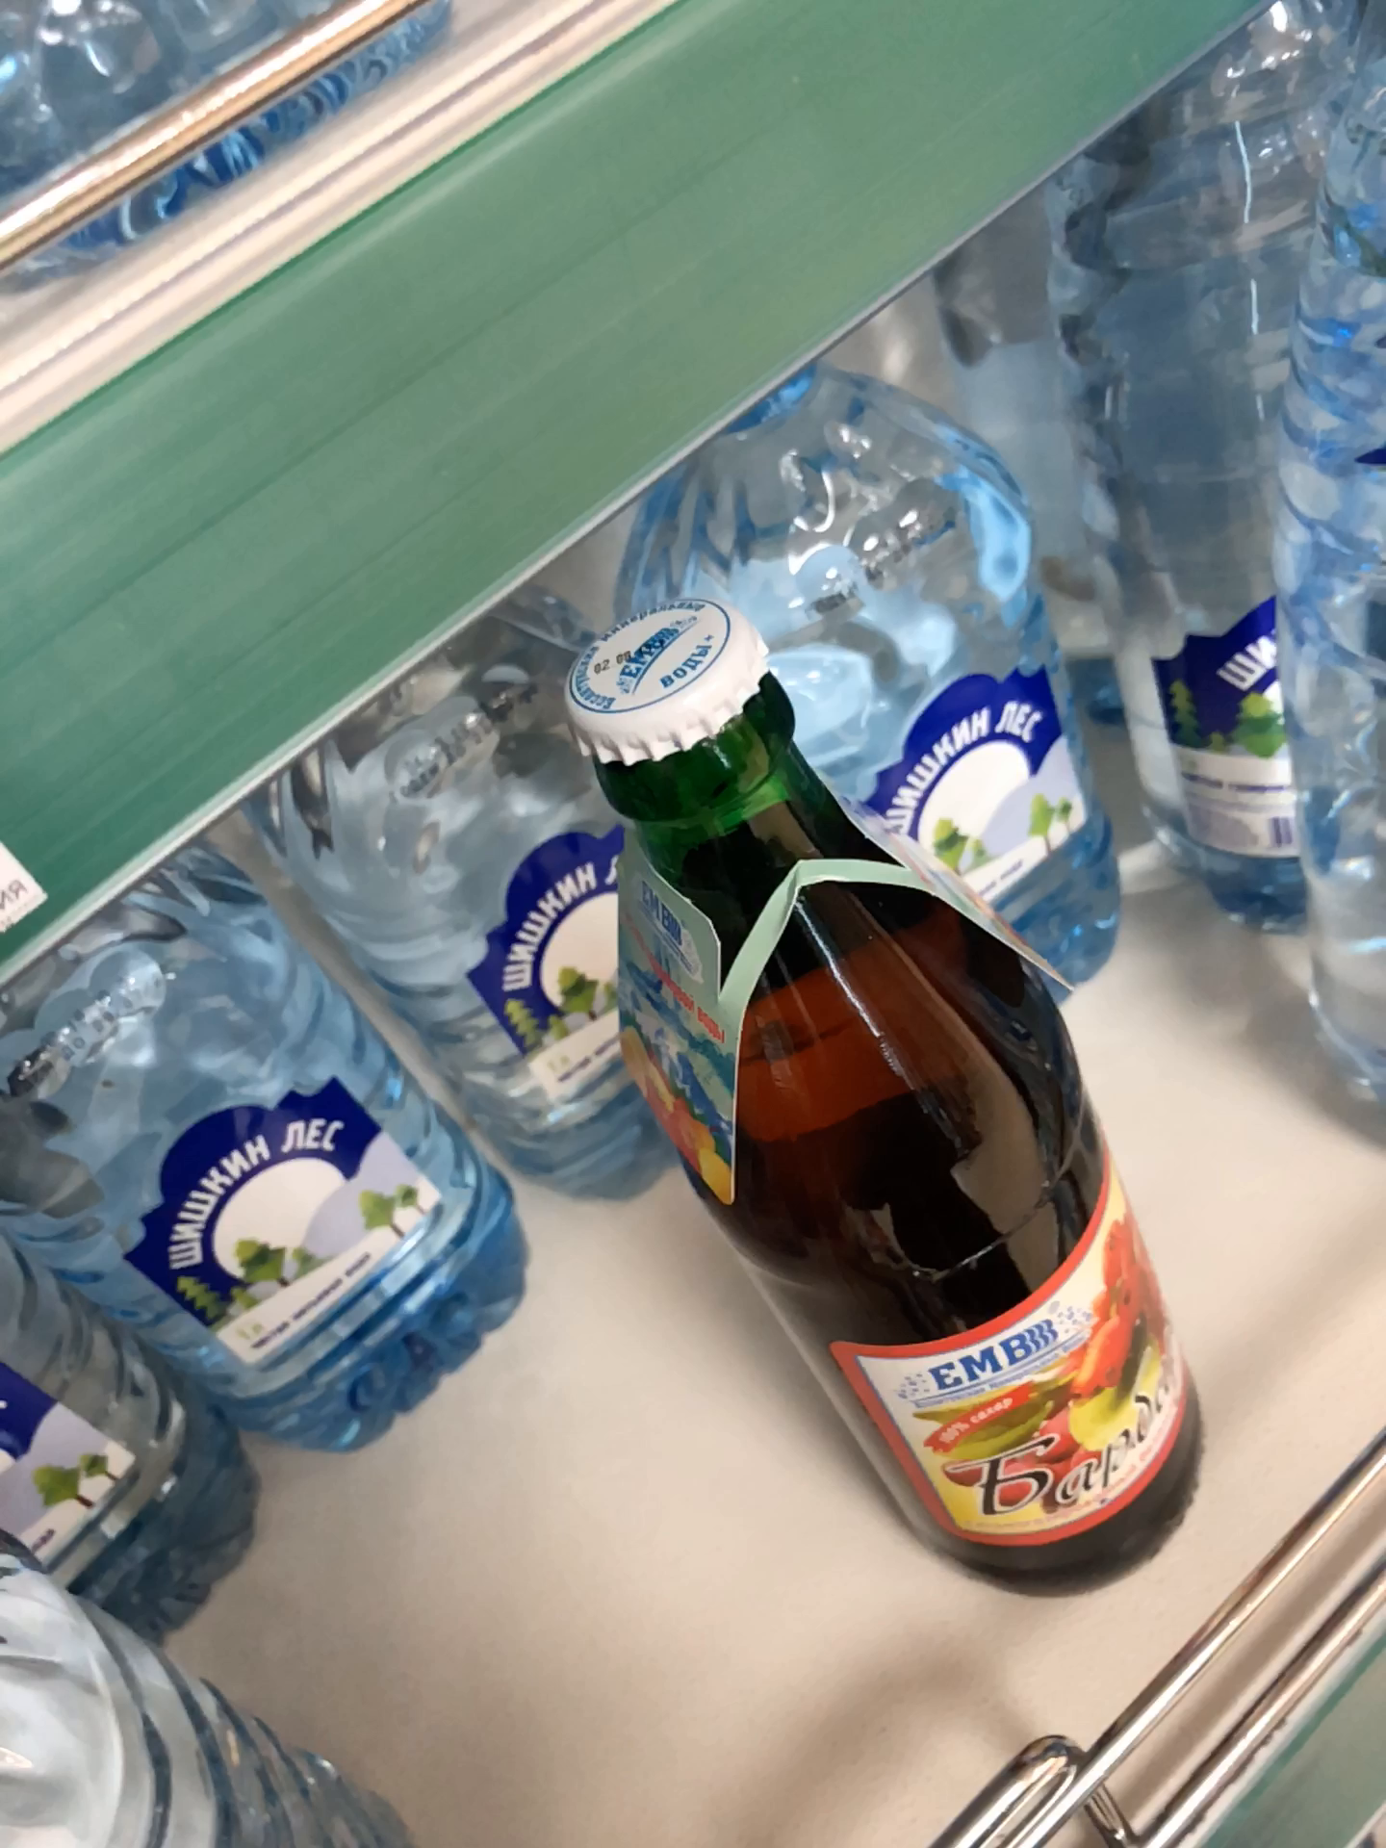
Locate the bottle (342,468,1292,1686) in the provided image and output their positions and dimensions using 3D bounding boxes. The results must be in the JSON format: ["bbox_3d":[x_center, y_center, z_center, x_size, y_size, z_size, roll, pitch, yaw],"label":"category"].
[{"bbox_3d":[0.039,0.044,0.261,0.073,0.222,0.057,-40,42,-11],"label":"bottle"}]
